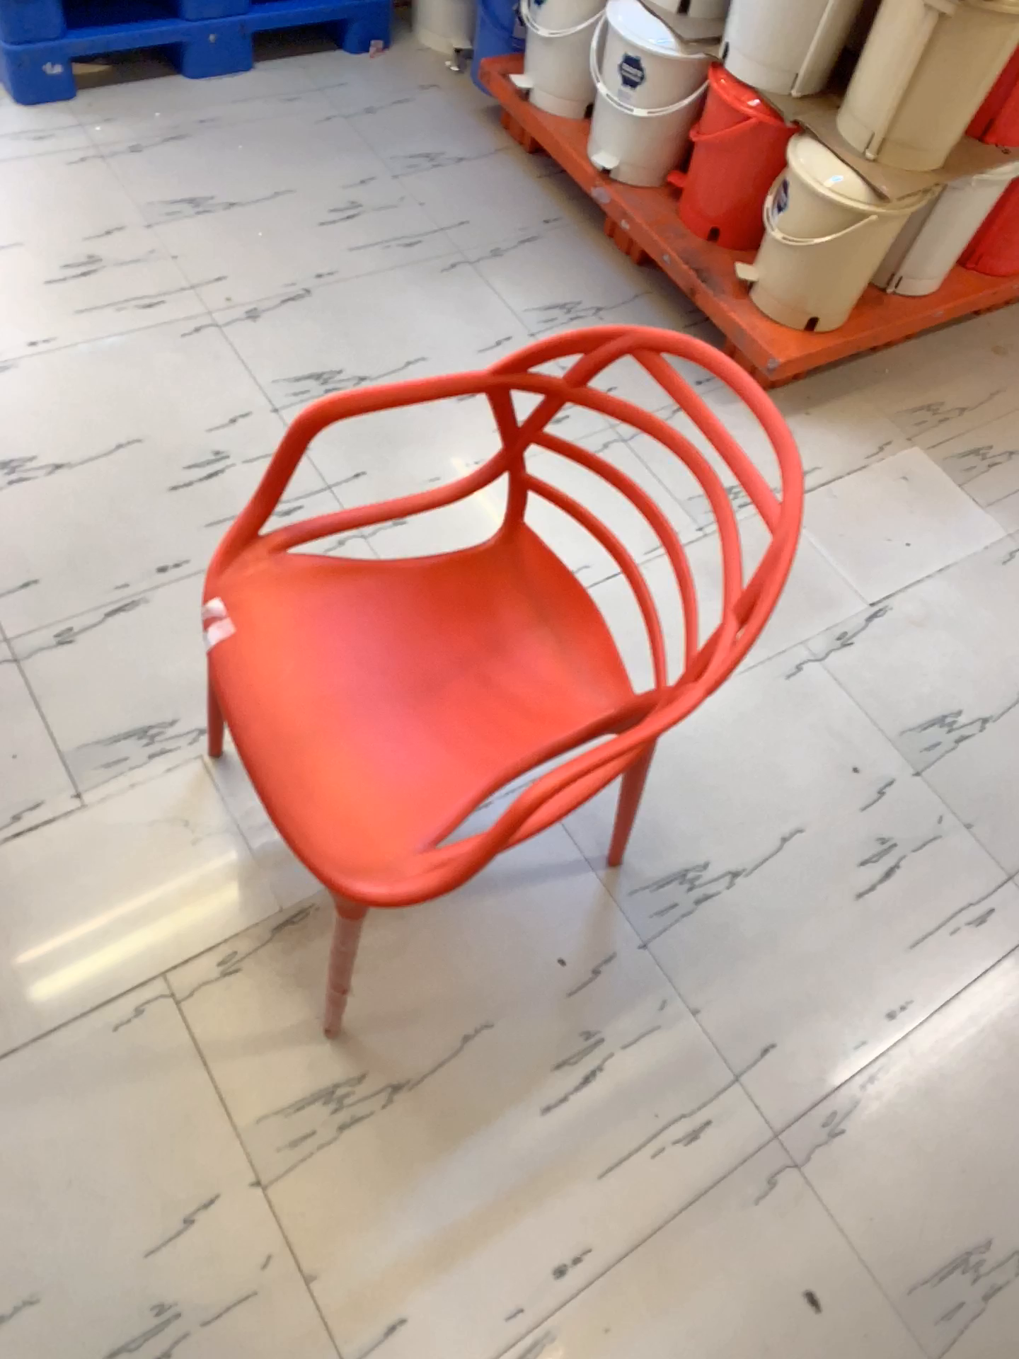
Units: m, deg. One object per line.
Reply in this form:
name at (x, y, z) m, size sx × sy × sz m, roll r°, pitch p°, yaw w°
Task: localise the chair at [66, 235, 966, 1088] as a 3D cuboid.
chair at (-0.047, -0.008, 1.187) m, size 0.632 × 0.656 × 0.552 m, roll -20°, pitch 63°, yaw -23°
